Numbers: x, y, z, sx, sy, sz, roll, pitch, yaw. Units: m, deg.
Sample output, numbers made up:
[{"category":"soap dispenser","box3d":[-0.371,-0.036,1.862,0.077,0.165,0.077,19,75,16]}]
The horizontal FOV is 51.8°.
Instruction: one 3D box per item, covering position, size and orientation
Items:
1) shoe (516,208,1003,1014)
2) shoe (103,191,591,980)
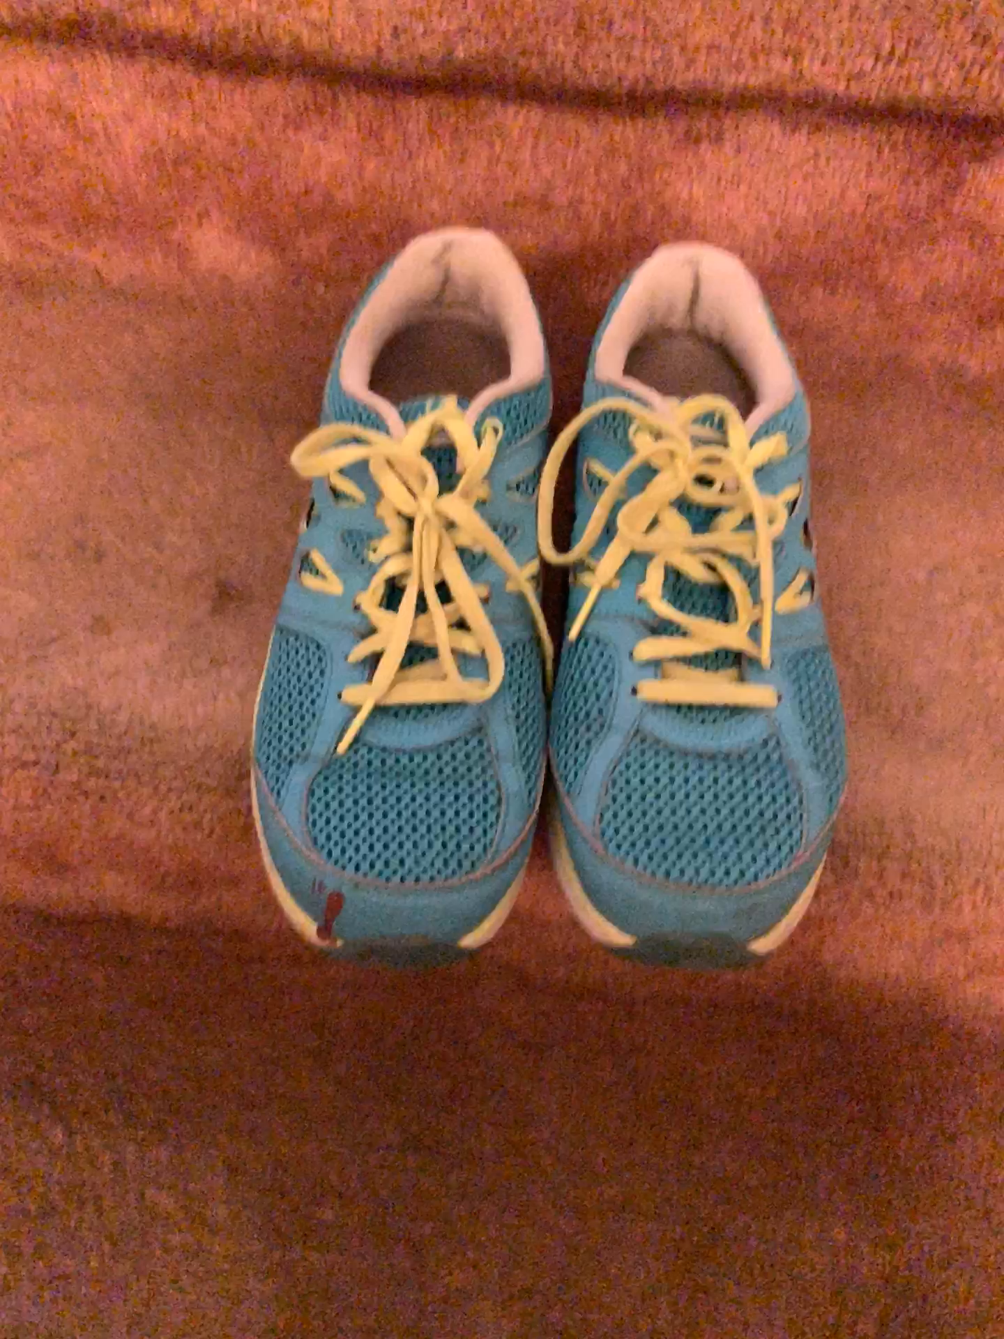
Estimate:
[{"category":"shoe","box3d":[0.074,-0.042,0.362,0.110,0.099,0.283,6,49,1]},{"category":"shoe","box3d":[-0.032,-0.050,0.362,0.110,0.099,0.283,4,49,-1]}]
